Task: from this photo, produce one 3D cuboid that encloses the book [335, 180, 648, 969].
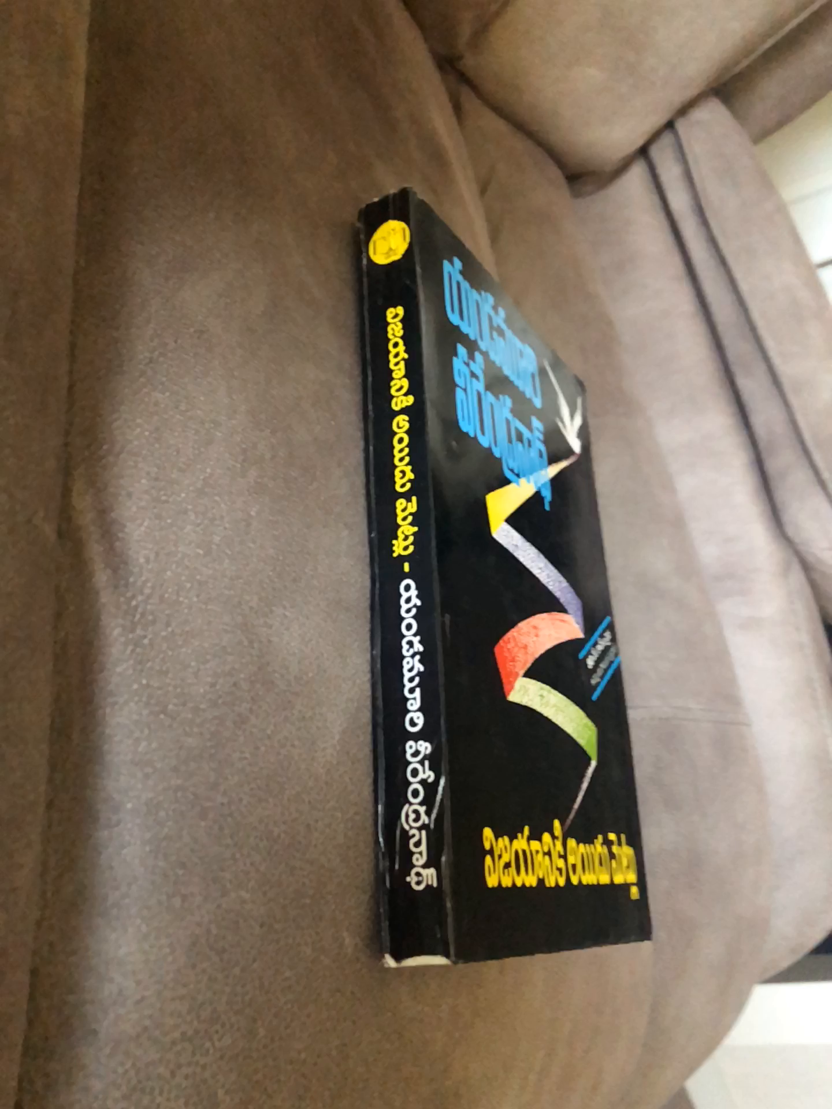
[{"bbox_3d":[0.027,0.013,0.298,0.145,0.026,0.212,30,53,-54],"label":"book"}]
